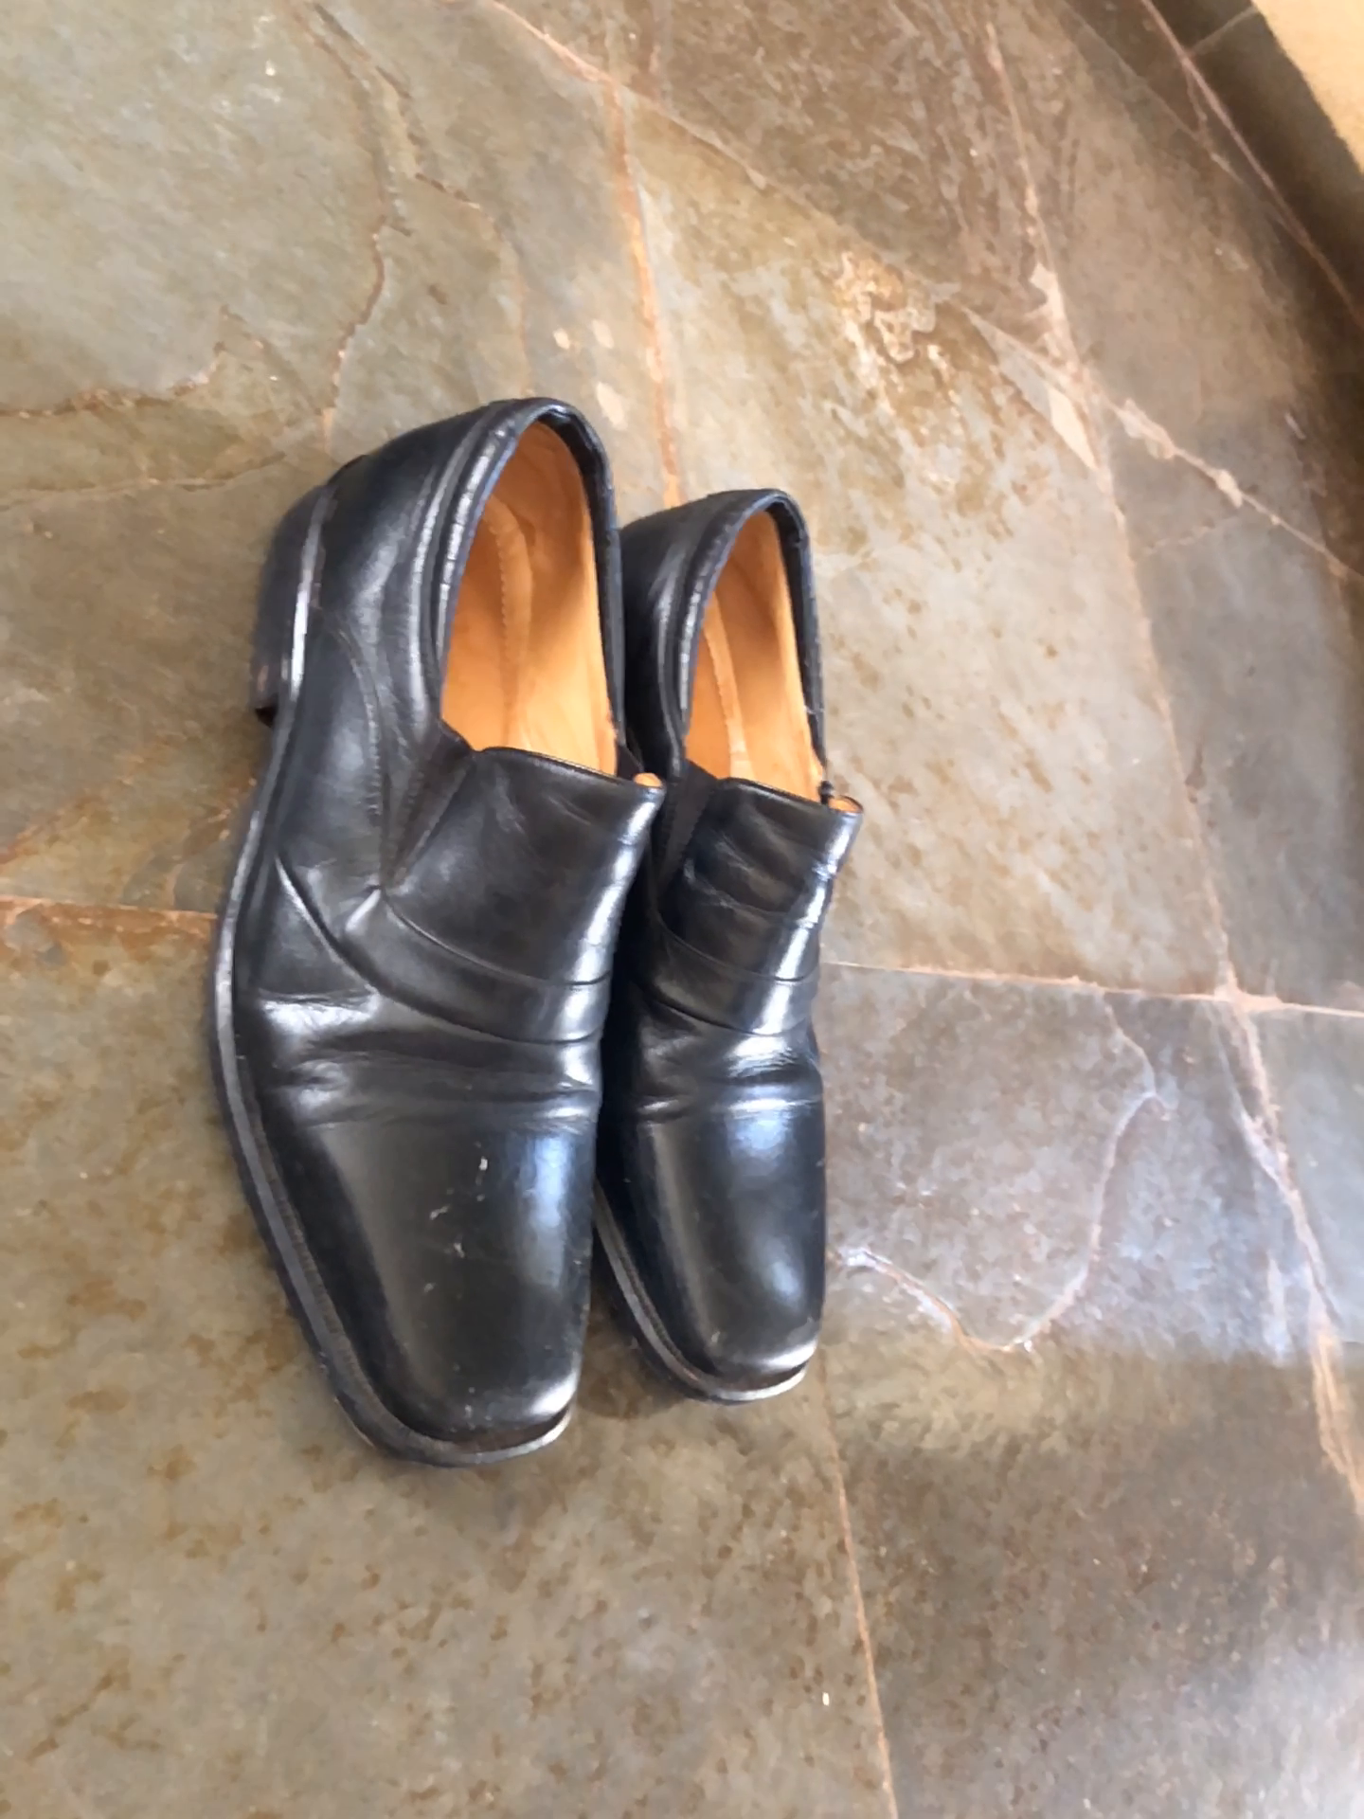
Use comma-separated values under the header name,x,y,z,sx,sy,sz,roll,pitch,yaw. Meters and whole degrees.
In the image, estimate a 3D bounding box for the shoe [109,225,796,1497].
name,x,y,z,sx,sy,sz,roll,pitch,yaw
shoe,-0.068,-0.007,0.391,0.111,0.109,0.280,9,66,-45

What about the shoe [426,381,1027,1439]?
name,x,y,z,sx,sy,sz,roll,pitch,yaw
shoe,0.005,0.004,0.459,0.101,0.109,0.281,10,66,-44
